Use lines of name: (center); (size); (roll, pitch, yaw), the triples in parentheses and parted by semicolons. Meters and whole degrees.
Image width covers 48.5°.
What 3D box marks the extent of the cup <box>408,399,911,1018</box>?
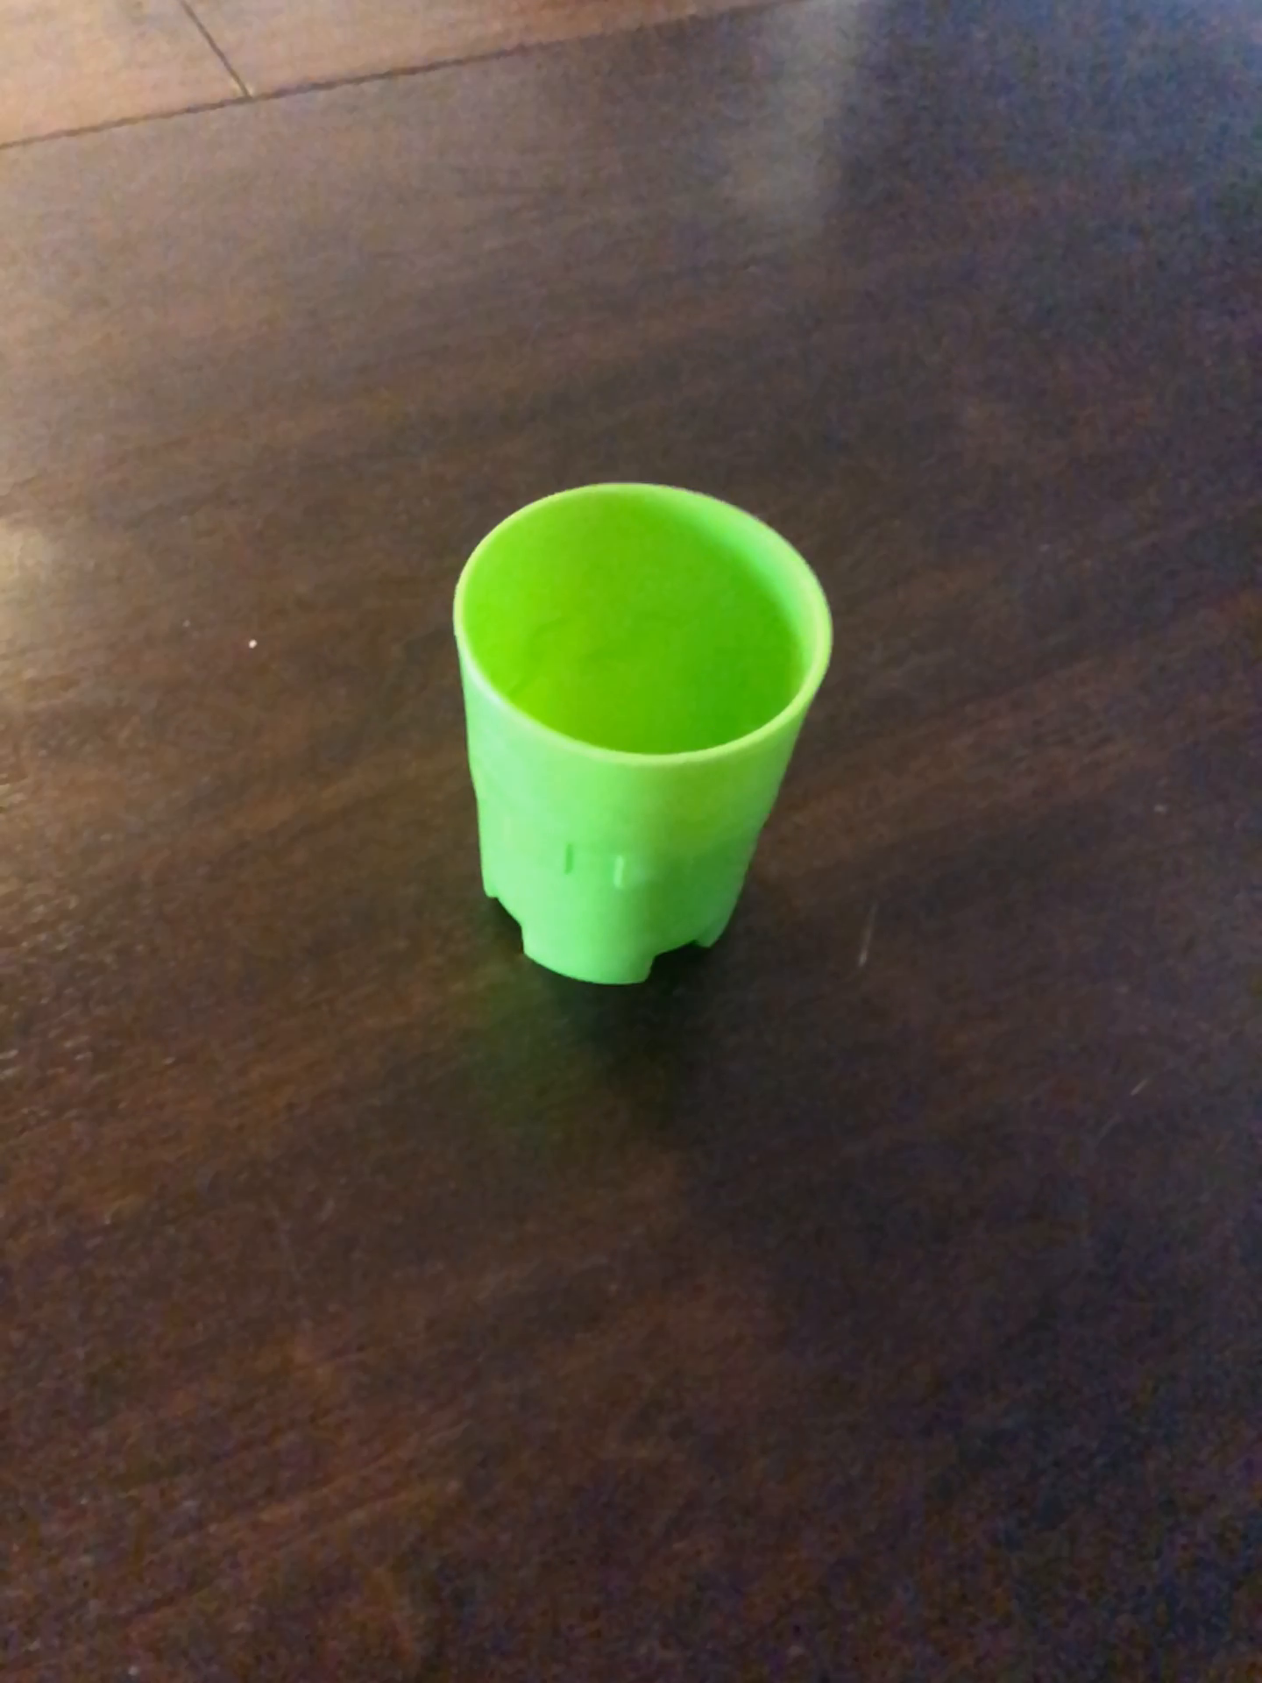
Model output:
cup: (-0.001, -0.023, 0.272); (0.070, 0.090, 0.070); (3, 55, -4)
